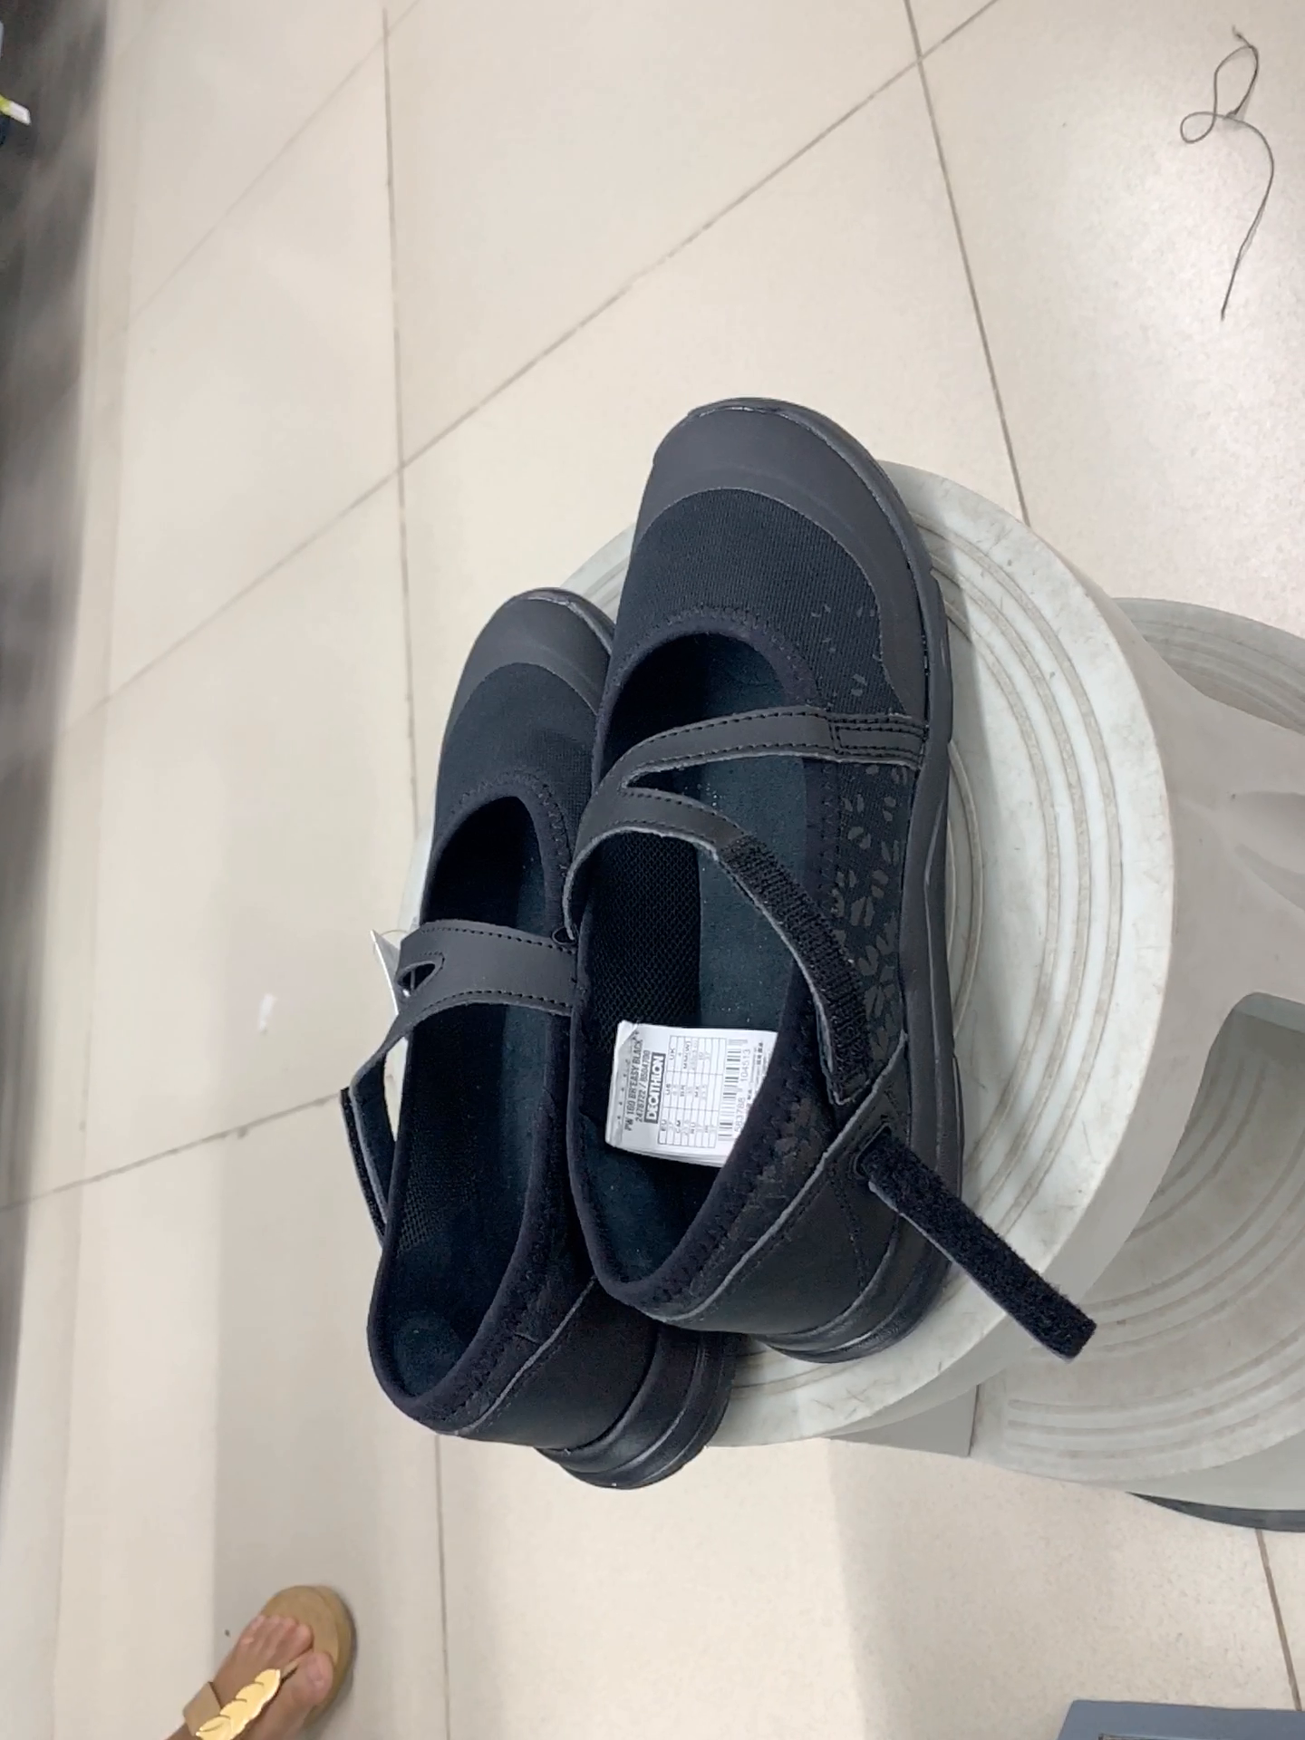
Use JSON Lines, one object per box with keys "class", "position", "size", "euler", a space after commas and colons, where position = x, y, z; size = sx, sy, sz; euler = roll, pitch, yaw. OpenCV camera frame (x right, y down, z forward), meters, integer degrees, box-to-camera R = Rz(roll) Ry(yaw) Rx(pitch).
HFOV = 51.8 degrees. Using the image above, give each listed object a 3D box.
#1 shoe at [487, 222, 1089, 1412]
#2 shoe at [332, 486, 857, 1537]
{"class": "shoe", "position": [0.024, -0.008, 0.325], "size": [0.101, 0.080, 0.250], "euler": [-17, 67, 40]}
{"class": "shoe", "position": [-0.025, 0.036, 0.365], "size": [0.091, 0.080, 0.250], "euler": [-24, 63, 37]}
